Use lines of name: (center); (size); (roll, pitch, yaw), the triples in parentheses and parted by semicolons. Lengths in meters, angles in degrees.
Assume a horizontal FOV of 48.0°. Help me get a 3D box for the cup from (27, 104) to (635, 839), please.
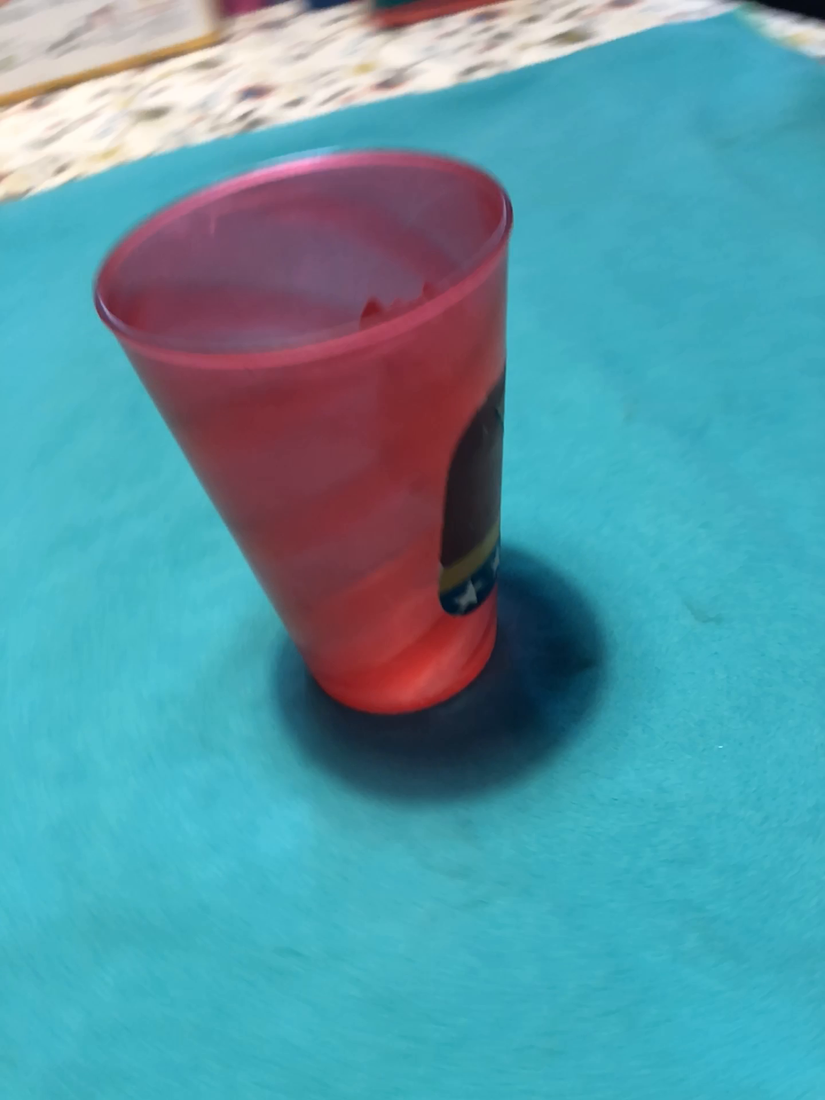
cup: (-0.015, -0.018, 0.207); (0.090, 0.109, 0.091); (-6, 44, 6)
